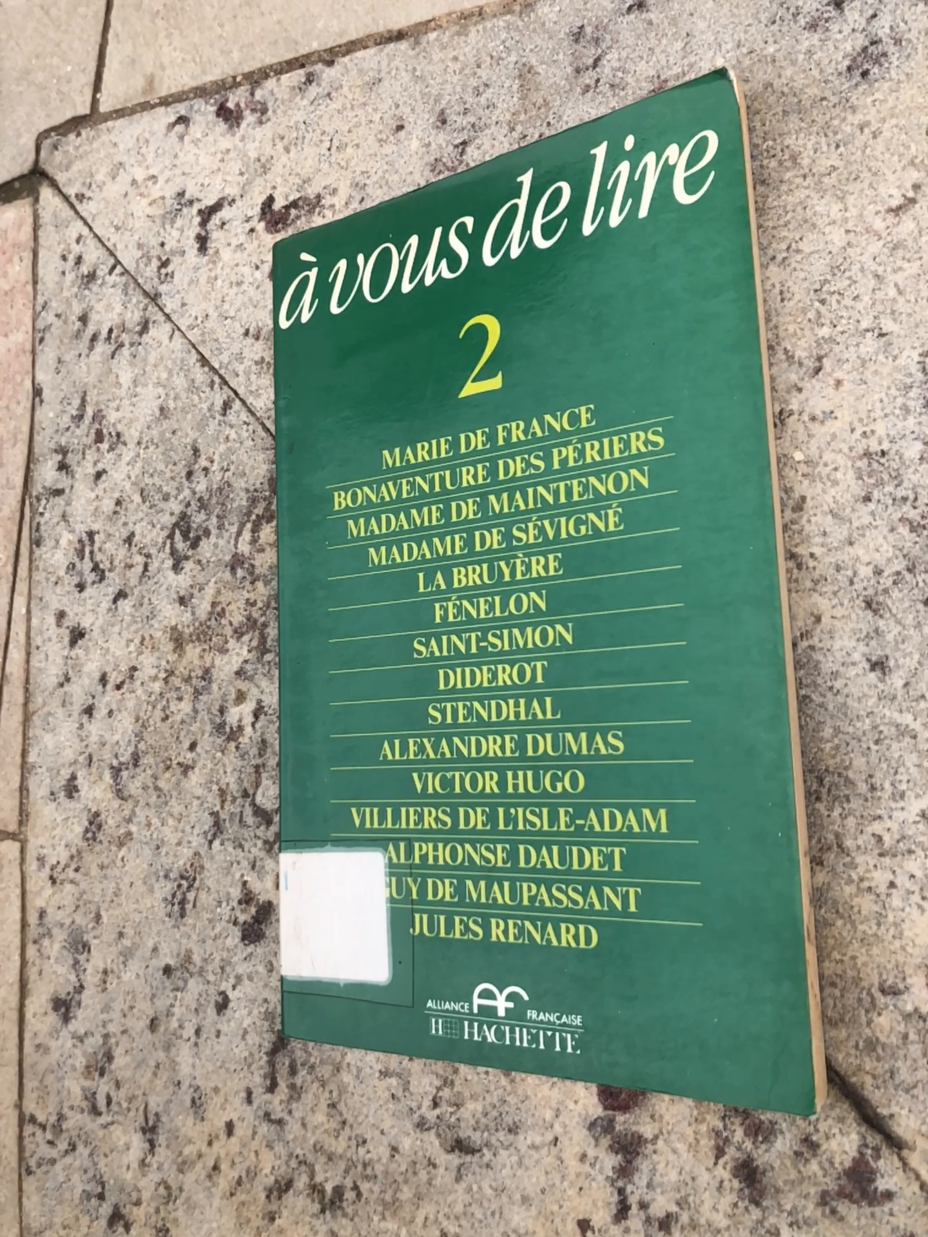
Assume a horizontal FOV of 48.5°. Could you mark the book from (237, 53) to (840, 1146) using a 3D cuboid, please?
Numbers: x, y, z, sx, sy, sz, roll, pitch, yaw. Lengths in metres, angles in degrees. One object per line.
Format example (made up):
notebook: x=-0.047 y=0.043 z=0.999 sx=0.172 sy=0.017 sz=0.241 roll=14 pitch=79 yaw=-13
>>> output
book: x=0.005 y=-0.004 z=0.240 sx=0.140 sy=0.017 sz=0.210 roll=-7 pitch=79 yaw=33
